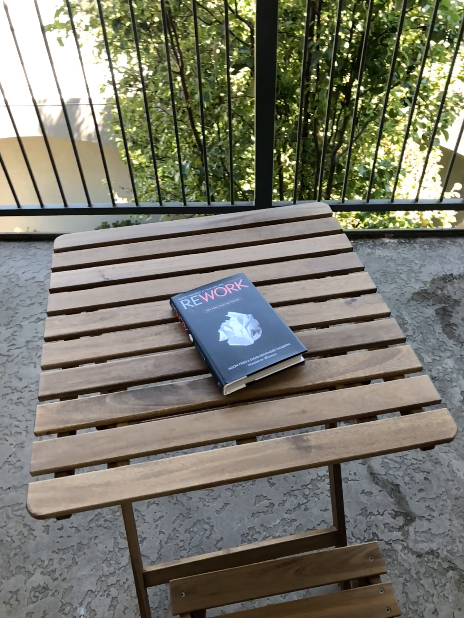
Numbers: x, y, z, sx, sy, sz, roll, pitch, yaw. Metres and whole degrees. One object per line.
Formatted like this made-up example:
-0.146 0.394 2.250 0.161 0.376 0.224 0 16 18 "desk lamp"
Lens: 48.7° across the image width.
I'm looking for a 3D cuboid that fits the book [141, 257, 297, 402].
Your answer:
-0.029 0.021 0.856 0.170 0.040 0.241 -21 48 -18 "book"
